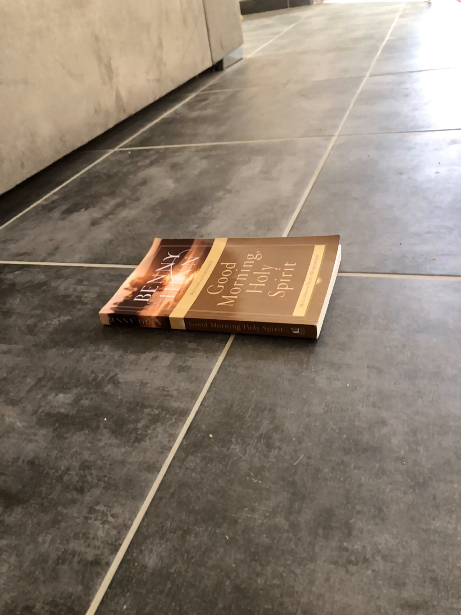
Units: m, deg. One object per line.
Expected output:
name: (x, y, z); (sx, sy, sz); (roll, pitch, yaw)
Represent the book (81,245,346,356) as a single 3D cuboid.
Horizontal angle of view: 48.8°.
book: (-0.011, -0.017, 0.509); (0.230, 0.020, 0.151); (3, 36, 20)
